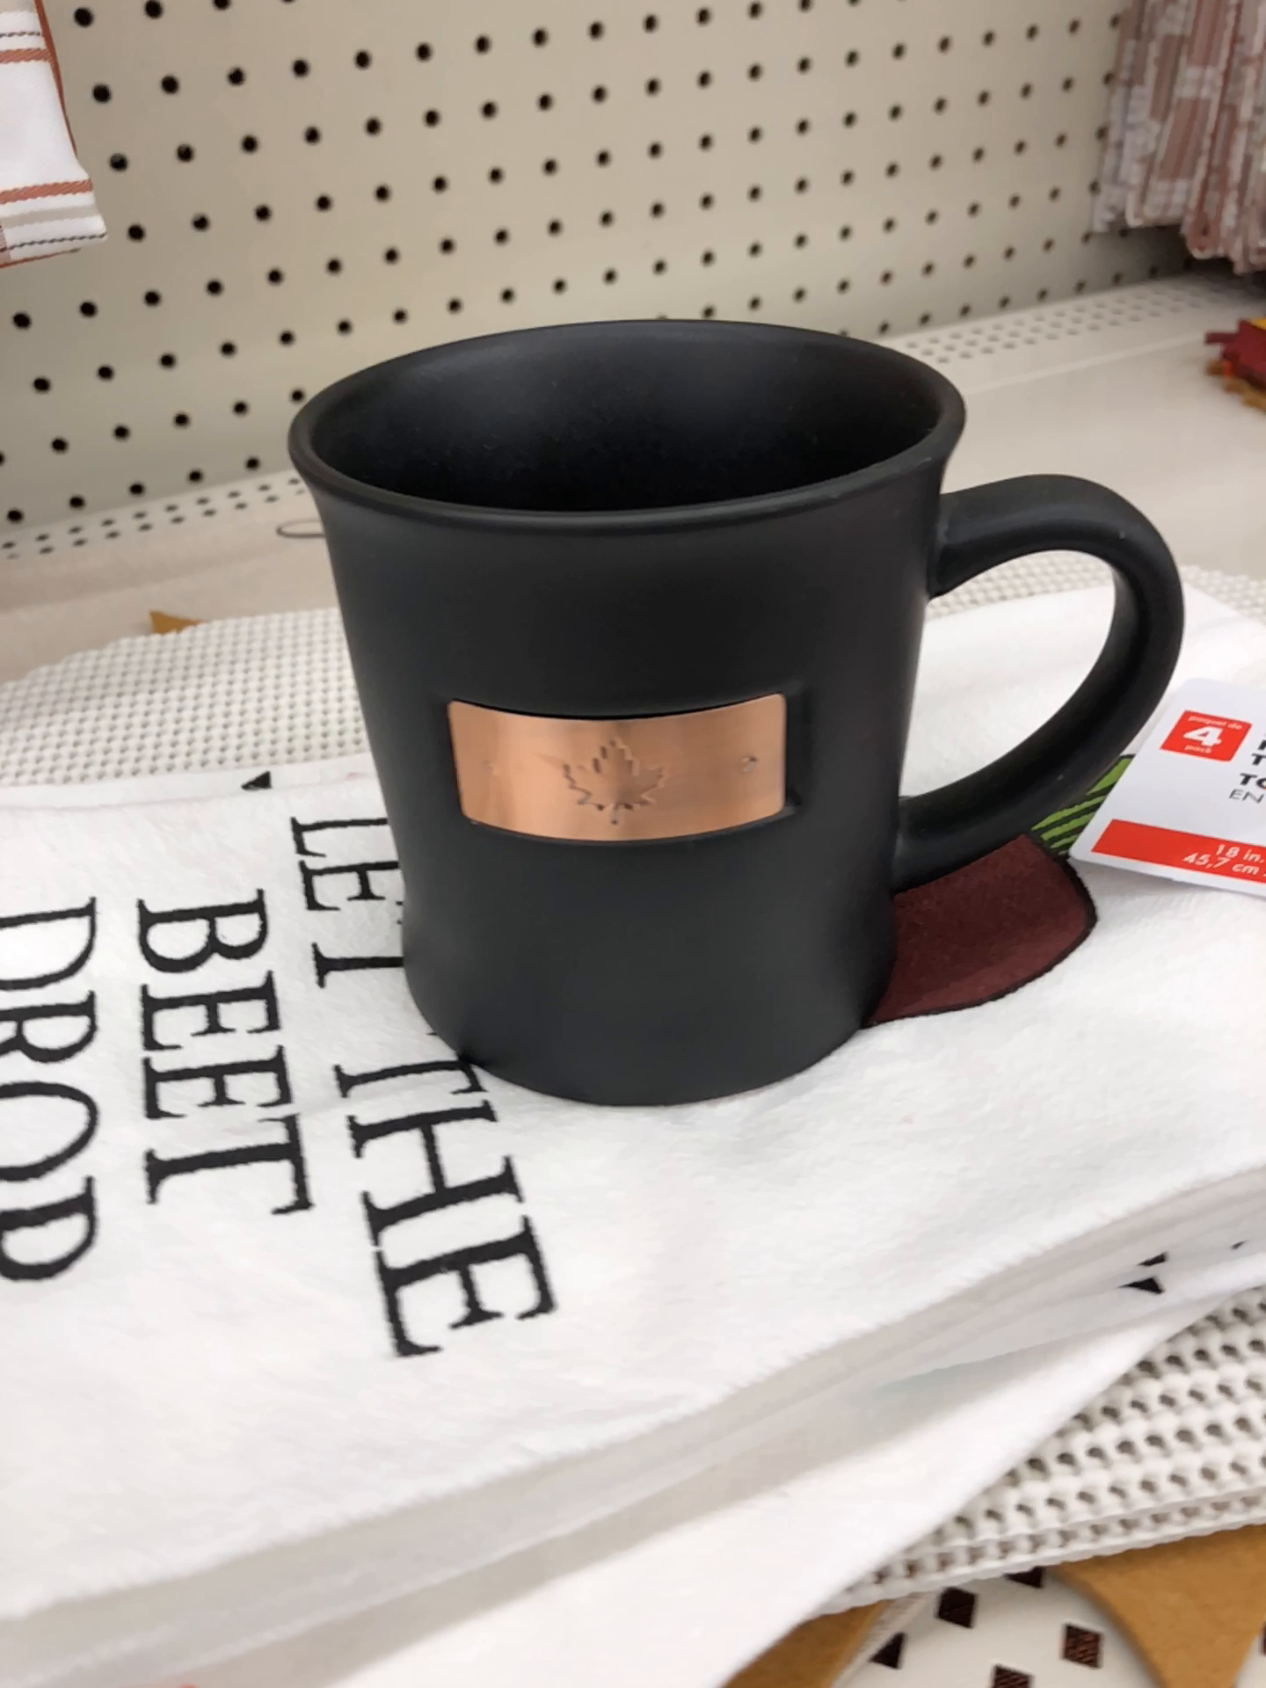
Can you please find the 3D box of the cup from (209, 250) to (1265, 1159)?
[{"bbox_3d":[0.019,-0.027,0.244,0.140,0.110,0.100,-4,36,-1],"label":"cup"}]
